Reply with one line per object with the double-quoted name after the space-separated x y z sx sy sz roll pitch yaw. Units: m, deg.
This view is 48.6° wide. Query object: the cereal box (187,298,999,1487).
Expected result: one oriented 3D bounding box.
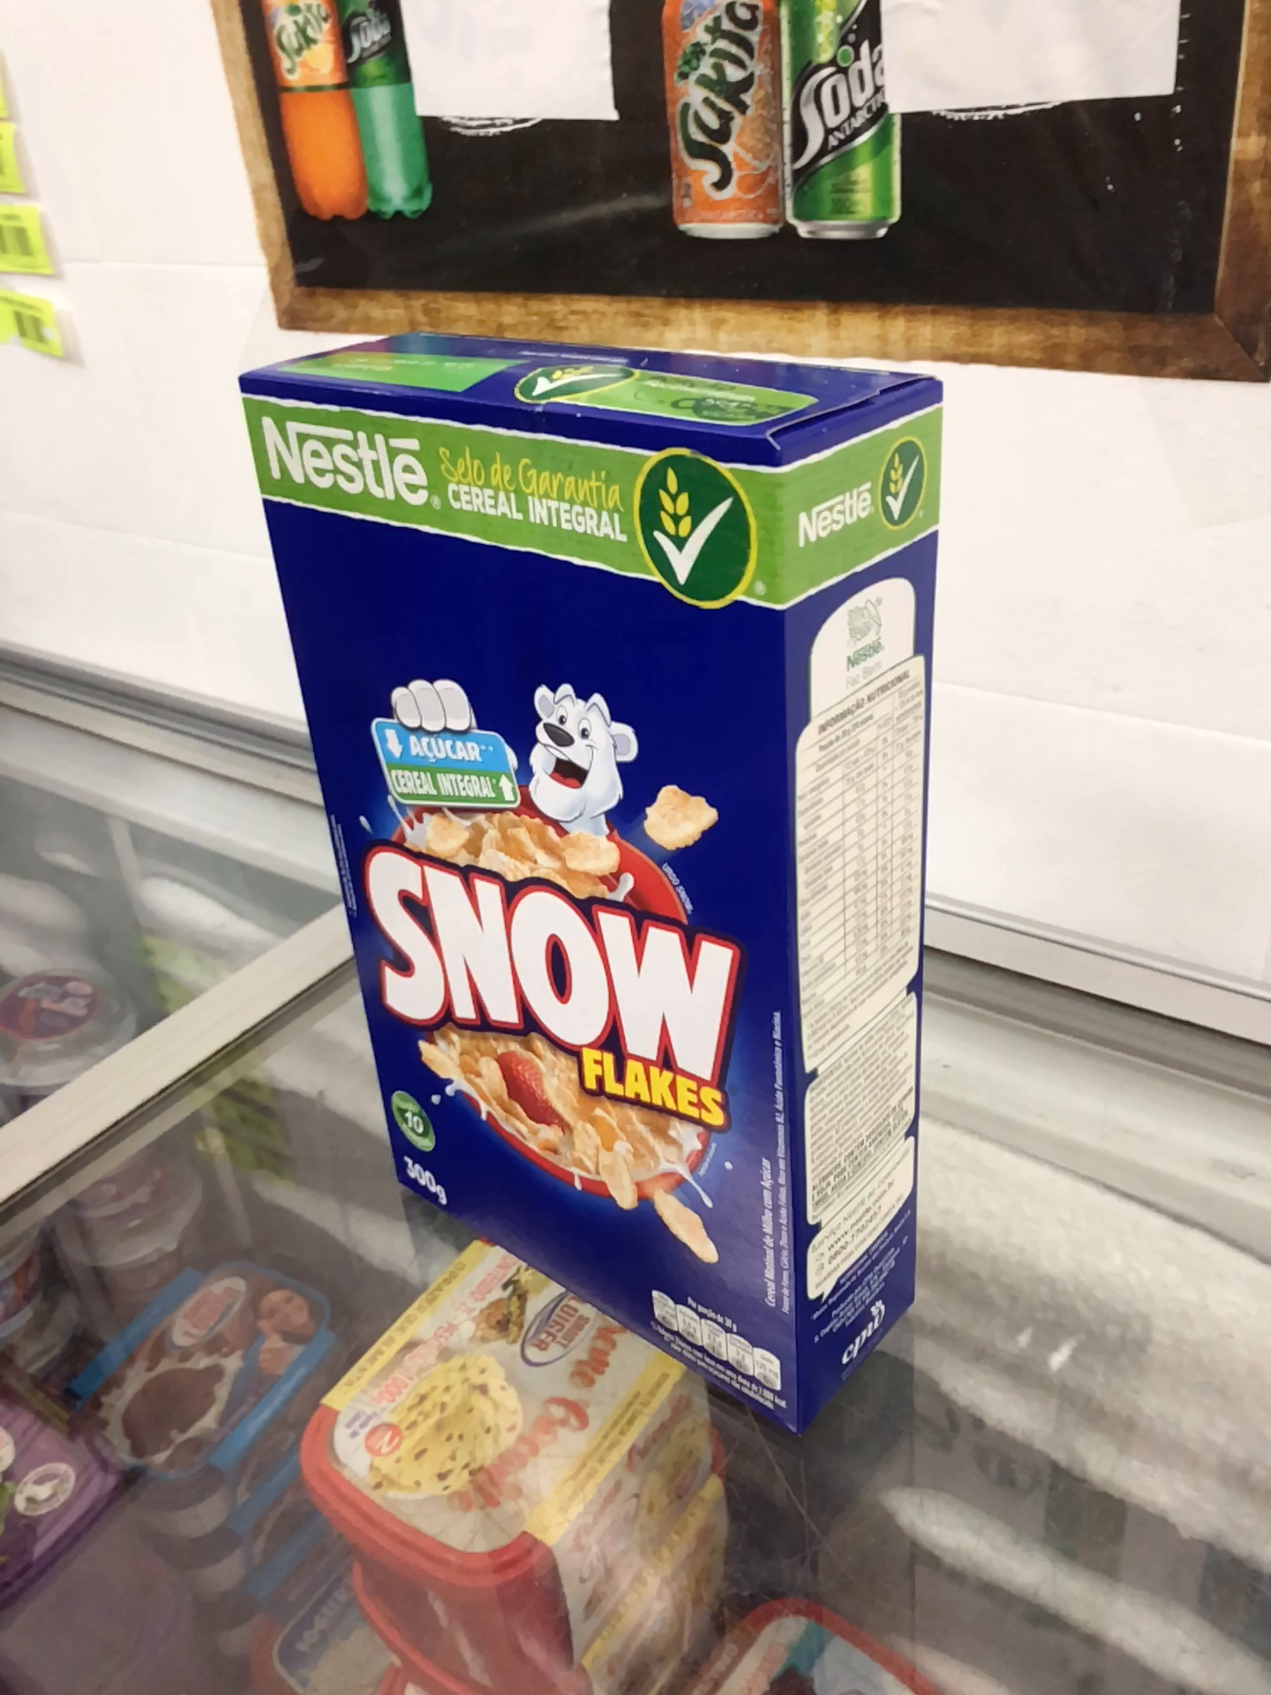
-0.007 0.007 0.359 0.171 0.258 0.070 21 39 38 "cereal box"
